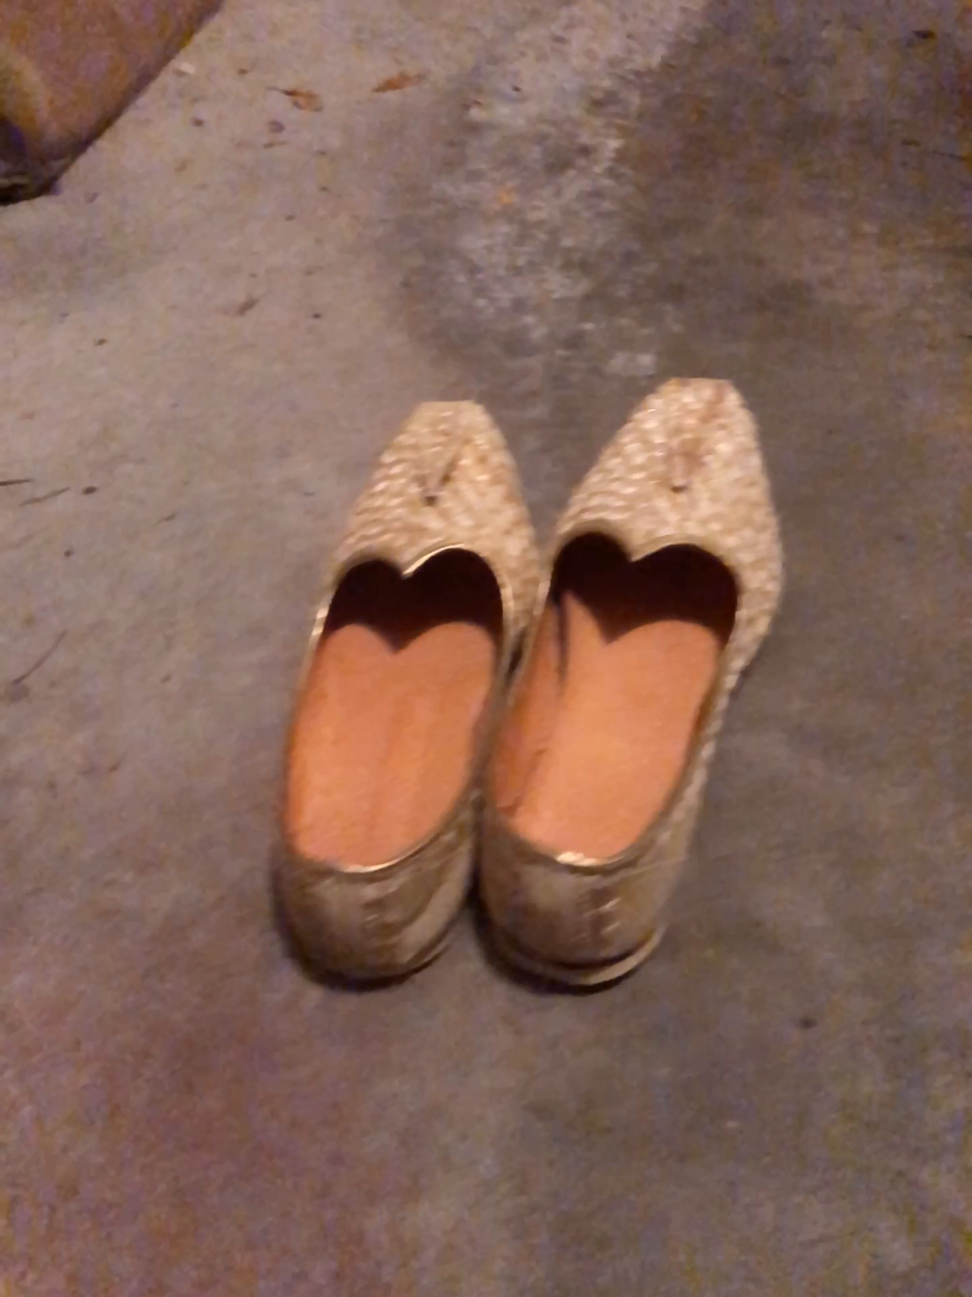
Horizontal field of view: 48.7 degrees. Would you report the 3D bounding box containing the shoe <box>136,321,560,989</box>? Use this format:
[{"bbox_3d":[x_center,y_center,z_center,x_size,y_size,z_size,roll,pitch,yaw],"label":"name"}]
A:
[{"bbox_3d":[-0.036,-0.014,0.435,0.104,0.073,0.275,0,53,12],"label":"shoe"}]

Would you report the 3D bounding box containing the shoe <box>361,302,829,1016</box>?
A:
[{"bbox_3d":[0.058,-0.017,0.415,0.104,0.073,0.275,9,55,18],"label":"shoe"}]
